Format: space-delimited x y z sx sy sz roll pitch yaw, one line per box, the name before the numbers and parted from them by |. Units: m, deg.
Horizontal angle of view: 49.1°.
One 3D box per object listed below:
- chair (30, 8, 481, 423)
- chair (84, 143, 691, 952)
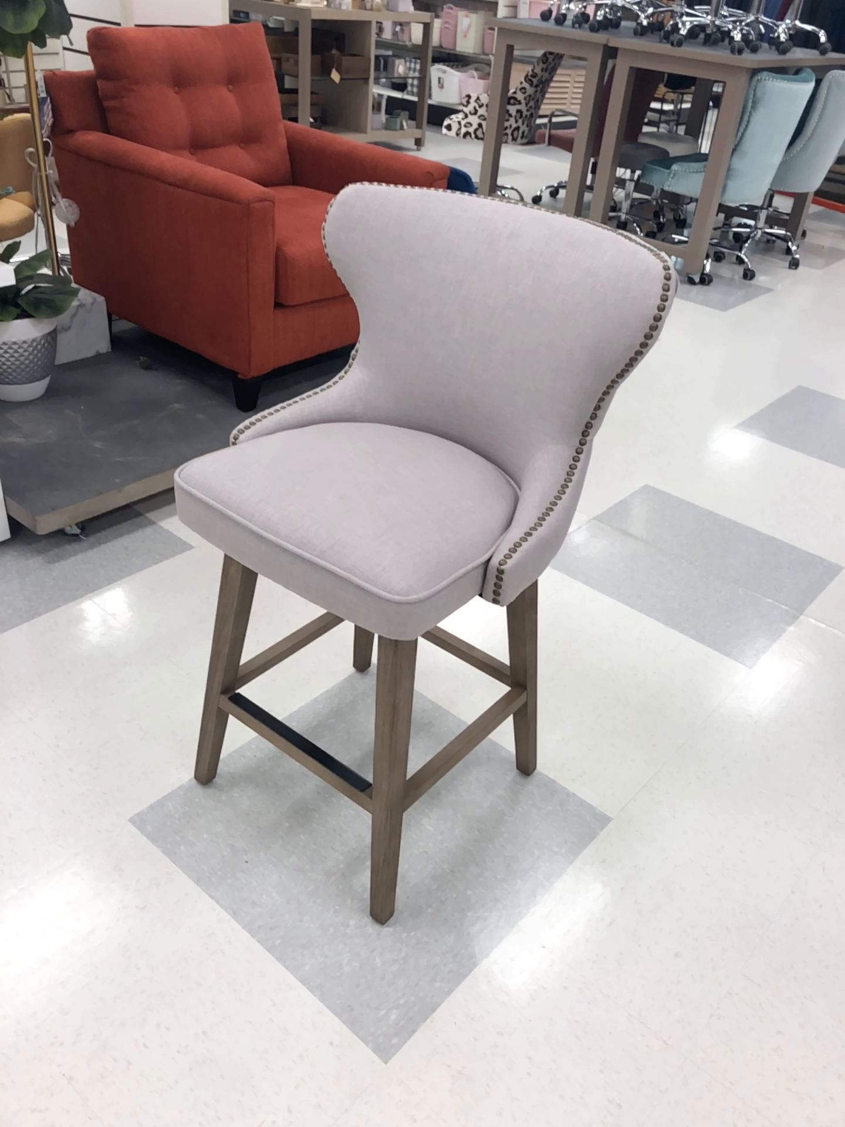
chair | -0.535 -1.191 3.031 0.999 0.969 0.913 30 40 33
chair | -0.081 -0.046 1.442 0.609 0.999 0.479 27 38 29
